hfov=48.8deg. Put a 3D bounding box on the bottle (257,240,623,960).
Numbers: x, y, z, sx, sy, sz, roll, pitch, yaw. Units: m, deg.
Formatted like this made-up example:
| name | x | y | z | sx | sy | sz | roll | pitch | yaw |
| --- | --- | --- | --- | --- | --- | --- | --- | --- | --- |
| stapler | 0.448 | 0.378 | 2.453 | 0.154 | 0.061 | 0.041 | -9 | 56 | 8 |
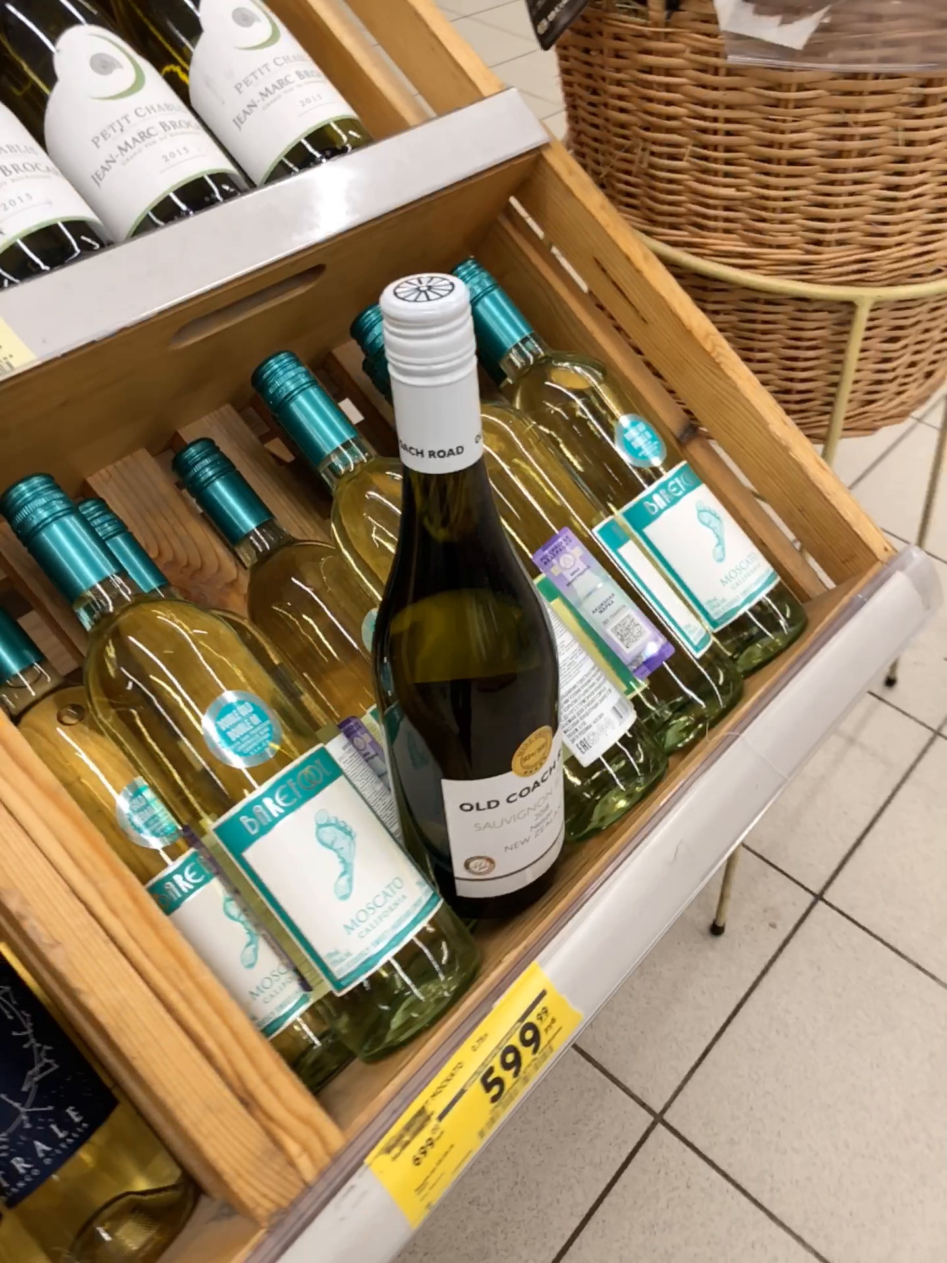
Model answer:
| name | x | y | z | sx | sy | sz | roll | pitch | yaw |
| --- | --- | --- | --- | --- | --- | --- | --- | --- | --- |
| bottle | -0.006 | 0.006 | 0.430 | 0.088 | 0.291 | 0.078 | 30 | 51 | 31 |
